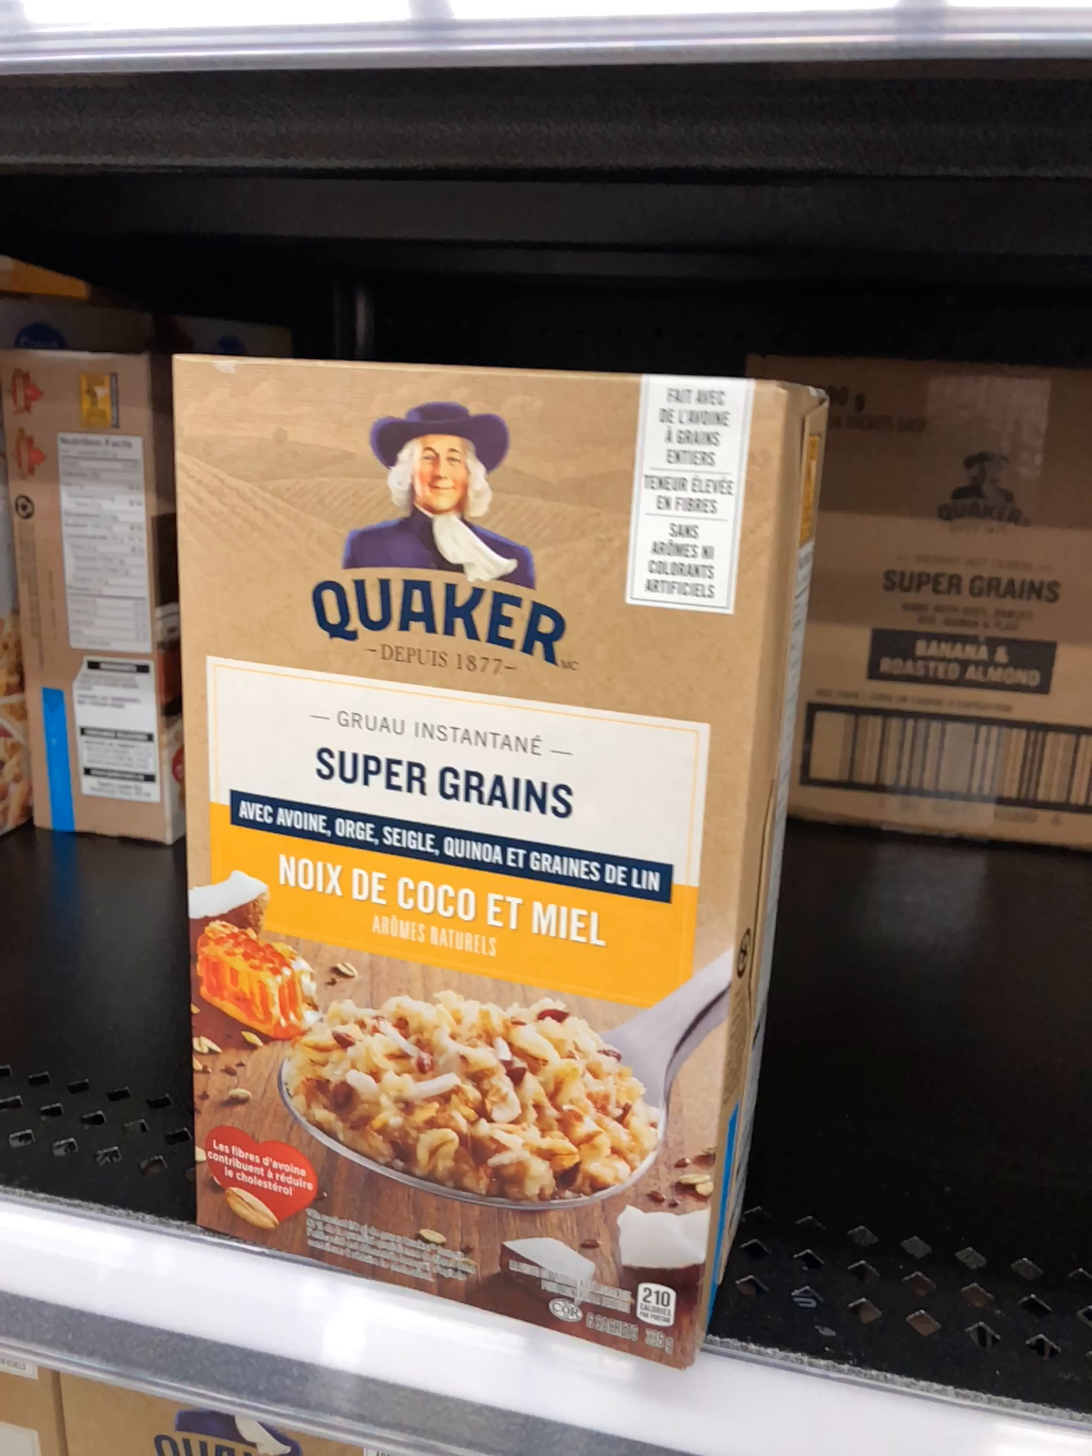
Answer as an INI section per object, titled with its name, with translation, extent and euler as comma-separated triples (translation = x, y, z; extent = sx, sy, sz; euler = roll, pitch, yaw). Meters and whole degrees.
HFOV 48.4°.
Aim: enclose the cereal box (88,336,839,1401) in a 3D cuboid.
[cereal box]
translation = -0.016, 0.023, 0.260
extent = 0.130, 0.199, 0.060
euler = 7, 17, 16
